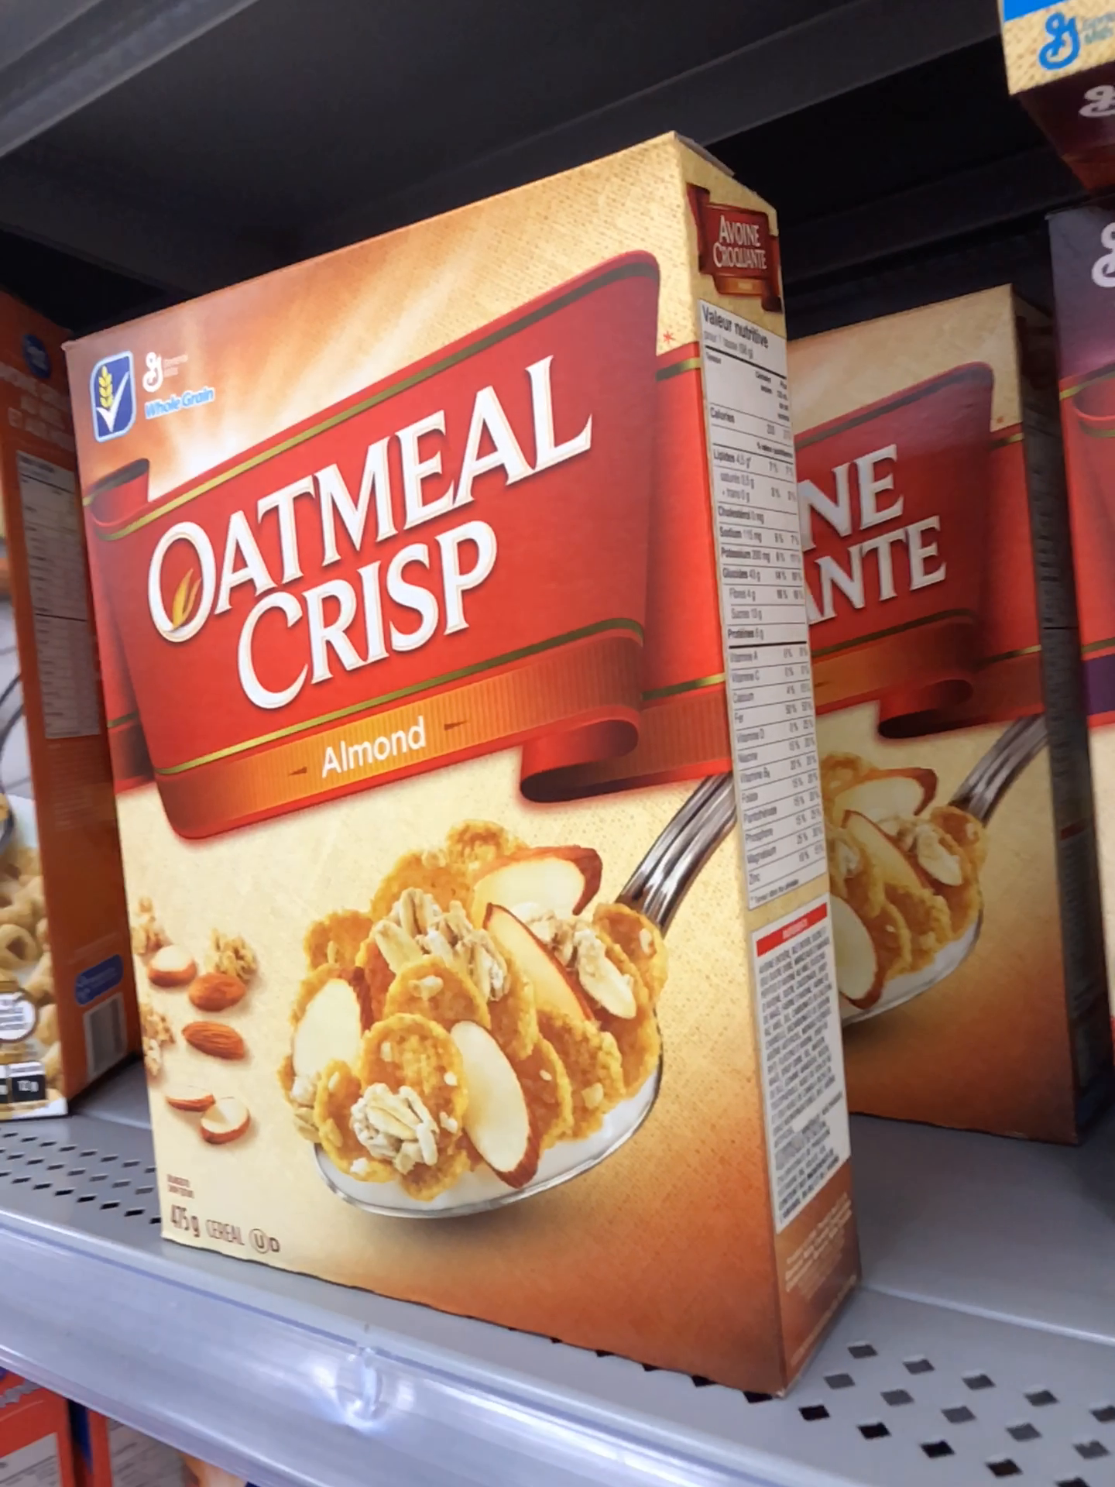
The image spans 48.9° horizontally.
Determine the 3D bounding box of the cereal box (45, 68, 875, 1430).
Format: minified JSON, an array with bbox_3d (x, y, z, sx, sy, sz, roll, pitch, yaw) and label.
[{"bbox_3d":[-0.036,0.006,0.329,0.210,0.280,0.050,-3,2,32],"label":"cereal box"}]
